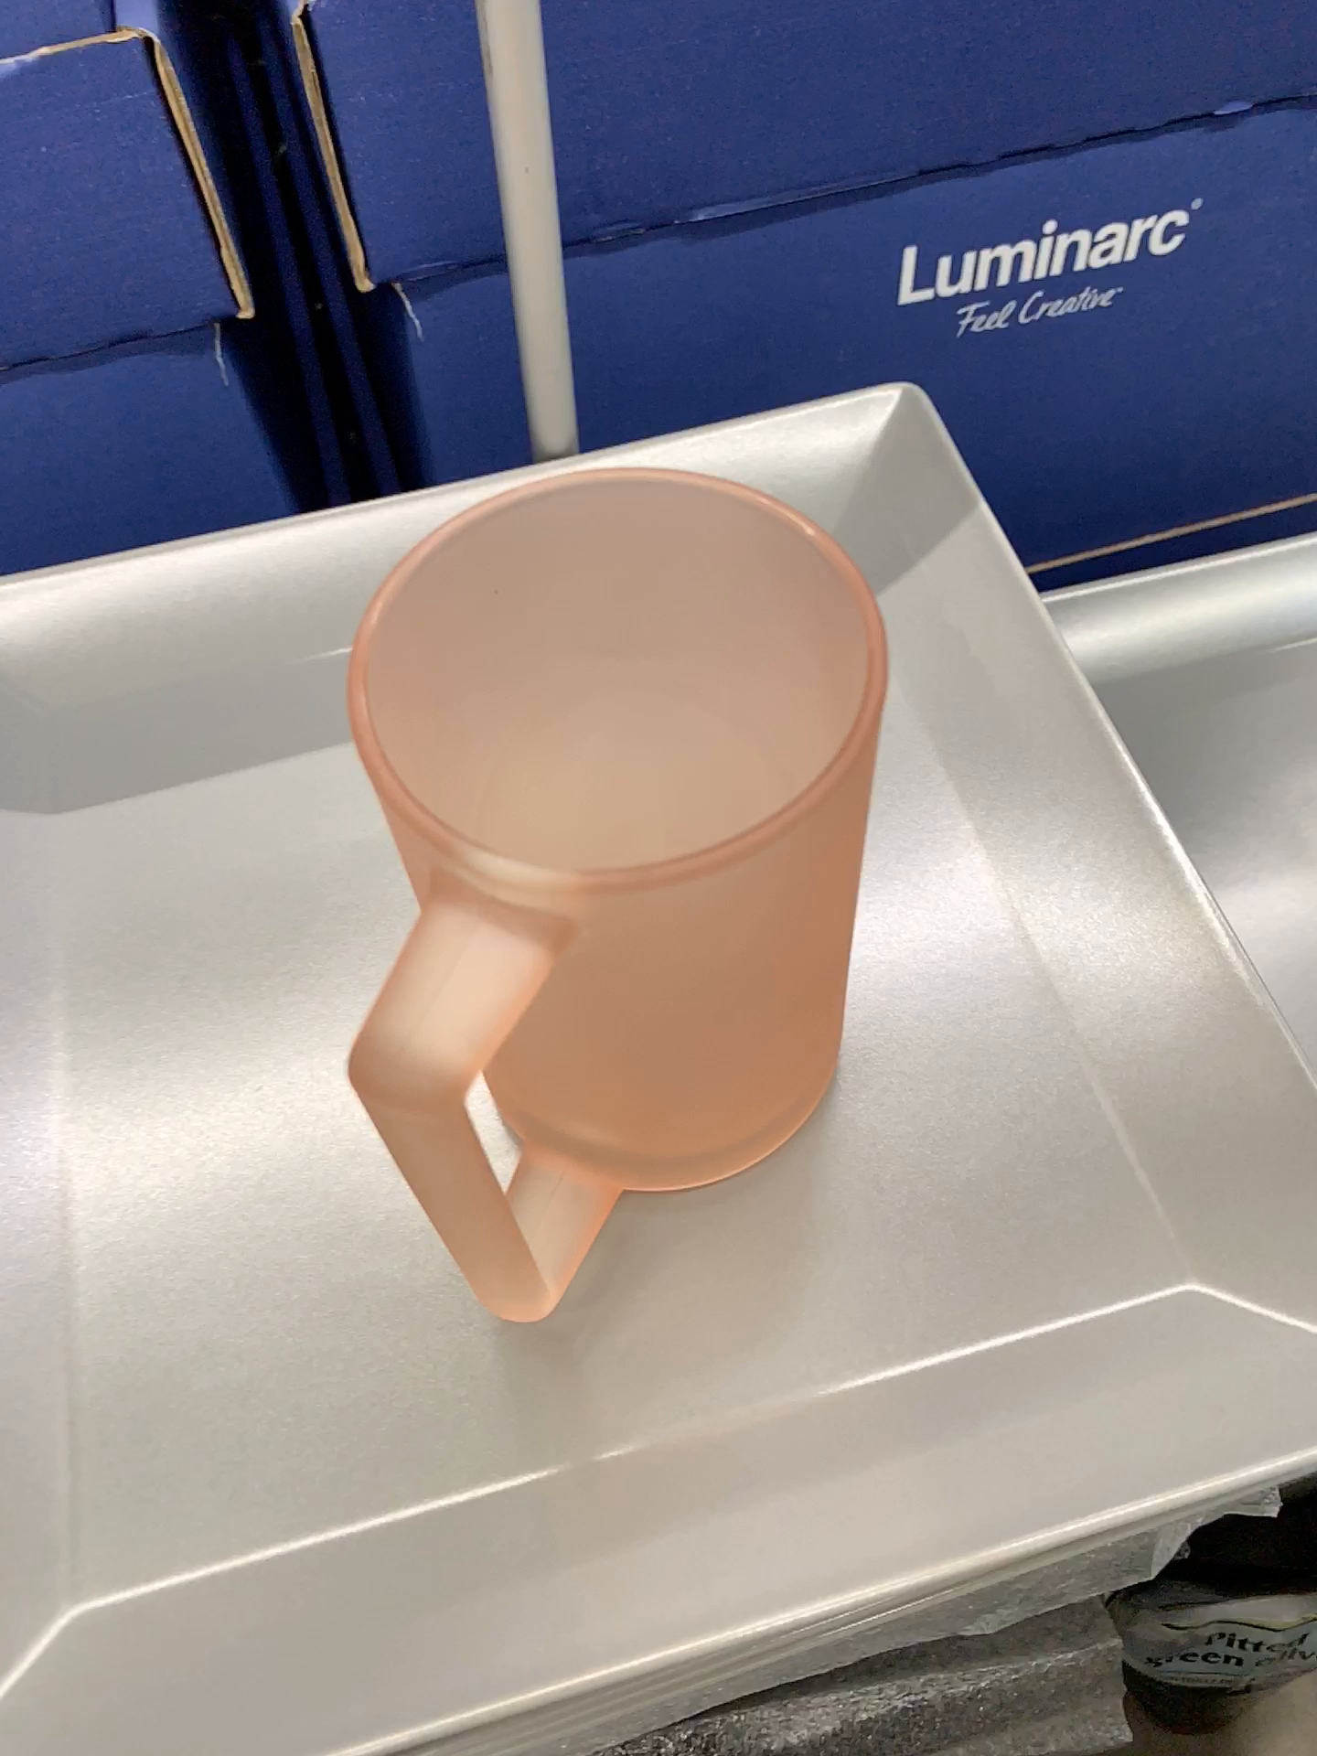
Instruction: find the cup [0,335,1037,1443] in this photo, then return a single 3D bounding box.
[{"bbox_3d":[-0.014,0.000,0.218,0.095,0.095,0.120,23,59,19],"label":"cup"}]
